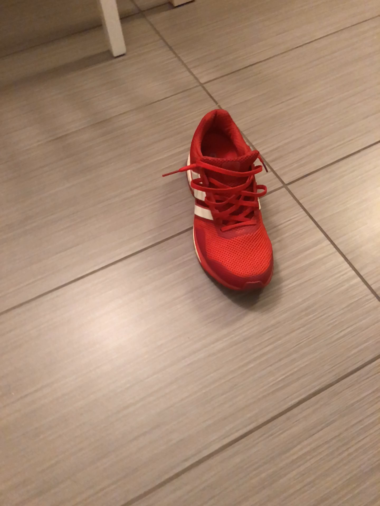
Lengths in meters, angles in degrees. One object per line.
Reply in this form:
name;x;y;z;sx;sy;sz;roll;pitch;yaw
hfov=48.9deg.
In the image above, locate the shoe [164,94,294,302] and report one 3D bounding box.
shoe;0.045;-0.090;0.614;0.120;0.100;0.291;-10;59;-2
